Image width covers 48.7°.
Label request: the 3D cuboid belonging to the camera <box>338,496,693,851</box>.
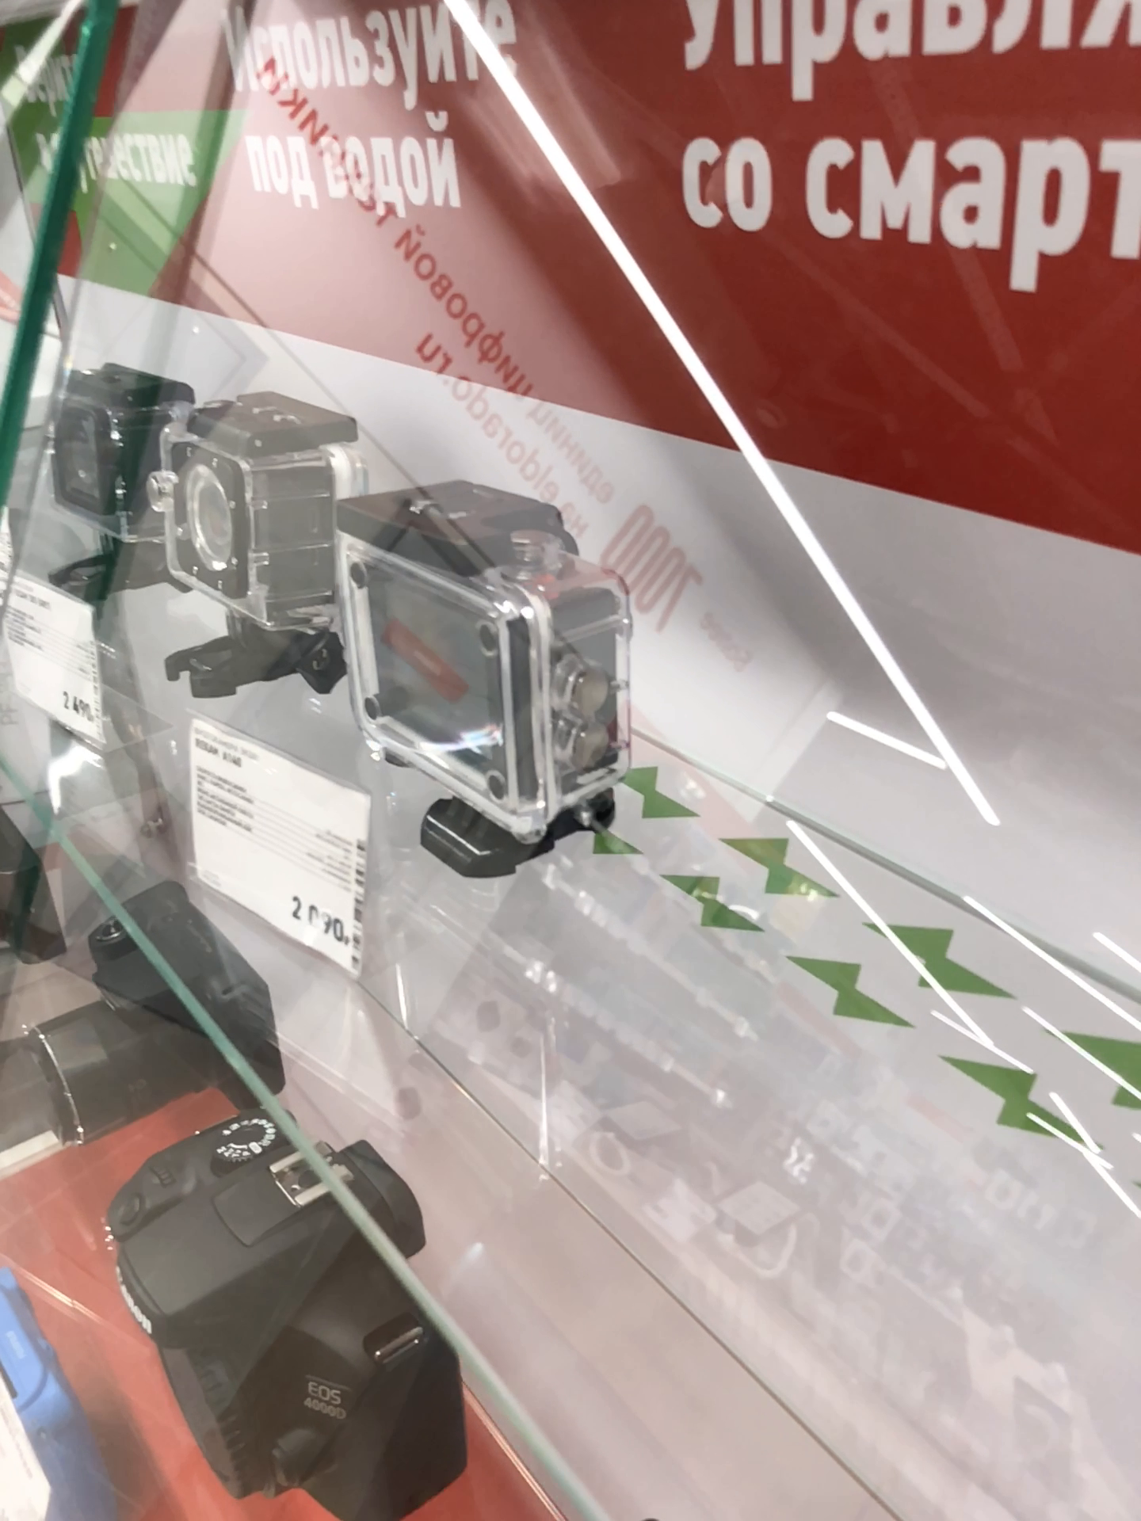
[{"bbox_3d":[-0.013,-0.023,0.283,0.040,0.053,0.075,-20,31,-33],"label":"camera"}]
